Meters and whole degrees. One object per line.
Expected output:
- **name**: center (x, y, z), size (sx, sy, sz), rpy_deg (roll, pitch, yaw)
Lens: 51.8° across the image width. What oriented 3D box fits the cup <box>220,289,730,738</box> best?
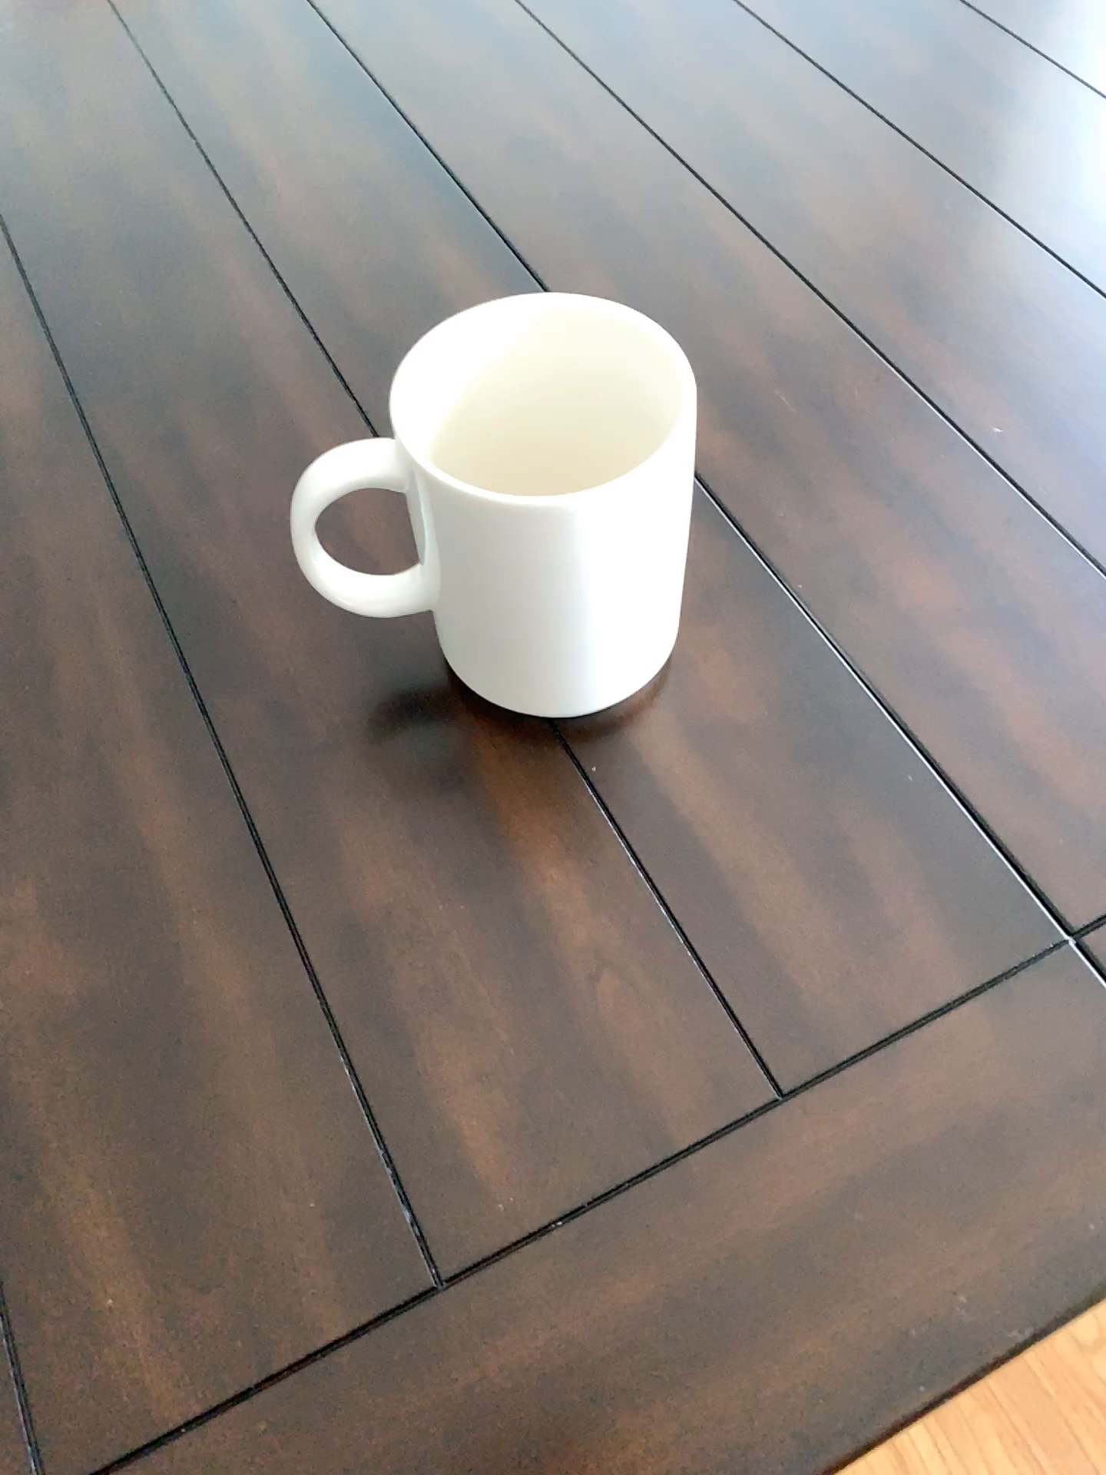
- **cup**: center (-0.018, -0.065, 0.357), size (0.130, 0.110, 0.080), rpy_deg (-2, 57, 2)
